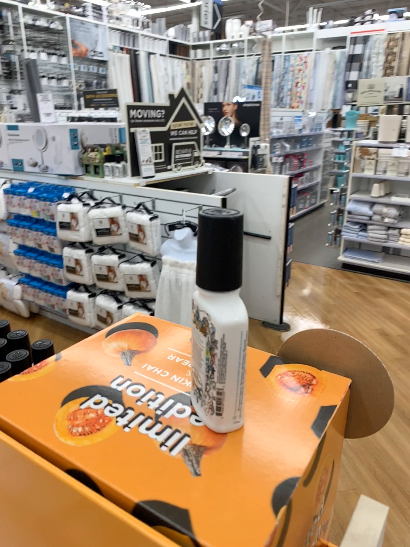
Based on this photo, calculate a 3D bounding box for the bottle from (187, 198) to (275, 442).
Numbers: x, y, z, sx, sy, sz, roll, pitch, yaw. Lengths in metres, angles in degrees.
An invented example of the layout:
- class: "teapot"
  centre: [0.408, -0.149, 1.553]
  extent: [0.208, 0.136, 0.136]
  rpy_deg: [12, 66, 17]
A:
- class: "bottle"
  centre: [0.014, 0.031, 0.284]
  extent: [0.033, 0.151, 0.055]
  rpy_deg: [-9, 22, -22]
